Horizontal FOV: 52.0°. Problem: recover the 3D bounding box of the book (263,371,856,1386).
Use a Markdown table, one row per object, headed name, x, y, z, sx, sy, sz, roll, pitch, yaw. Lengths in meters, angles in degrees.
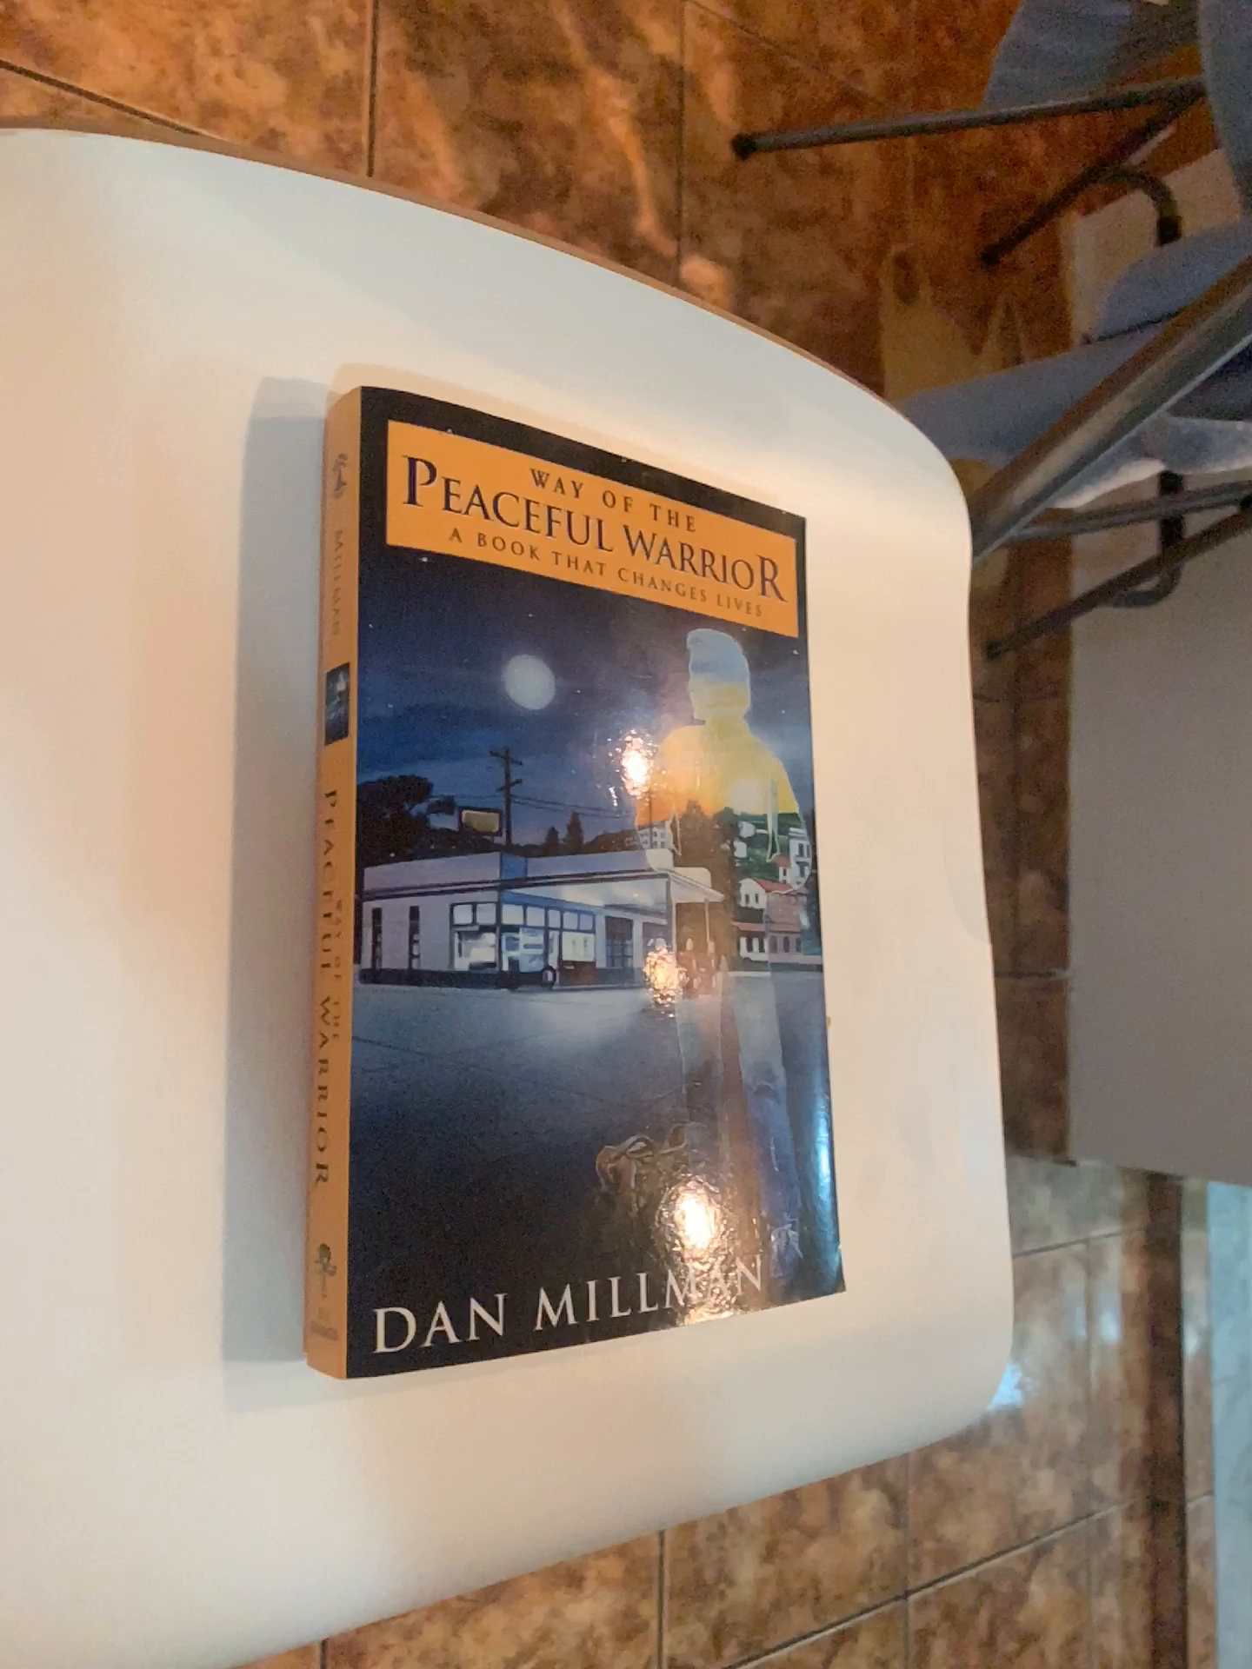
| name | x | y | z | sx | sy | sz | roll | pitch | yaw |
| --- | --- | --- | --- | --- | --- | --- | --- | --- | --- |
| book | -0.009 | 0.012 | 0.322 | 0.141 | 0.039 | 0.210 | 6 | 84 | -35 |
